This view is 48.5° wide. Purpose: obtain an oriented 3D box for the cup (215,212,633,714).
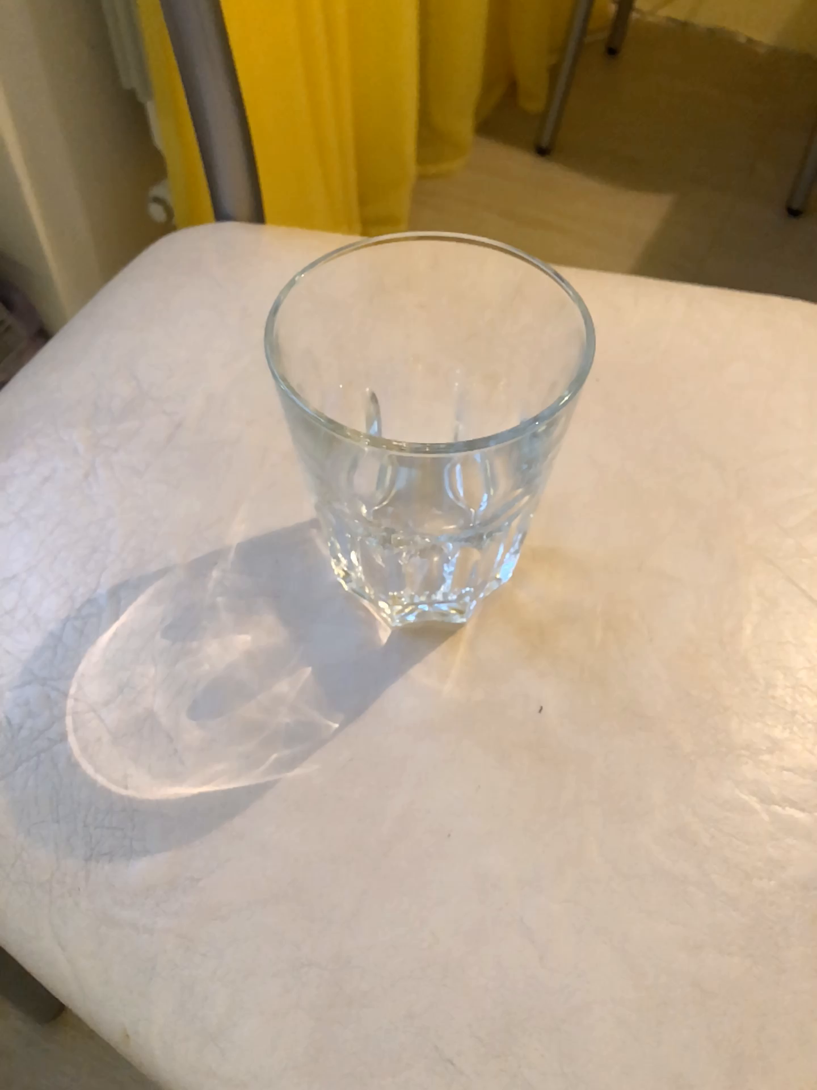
[{"bbox_3d":[0.006,-0.021,0.262,0.080,0.099,0.080,1,53,-1],"label":"cup"}]
